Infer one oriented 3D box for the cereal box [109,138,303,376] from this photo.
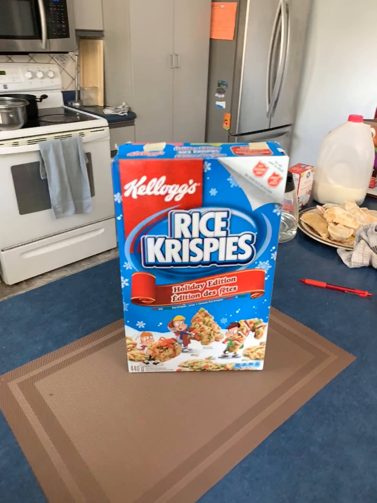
[{"bbox_3d":[0.015,0.018,0.537,0.220,0.327,0.081,0,26,-4],"label":"cereal box"}]
